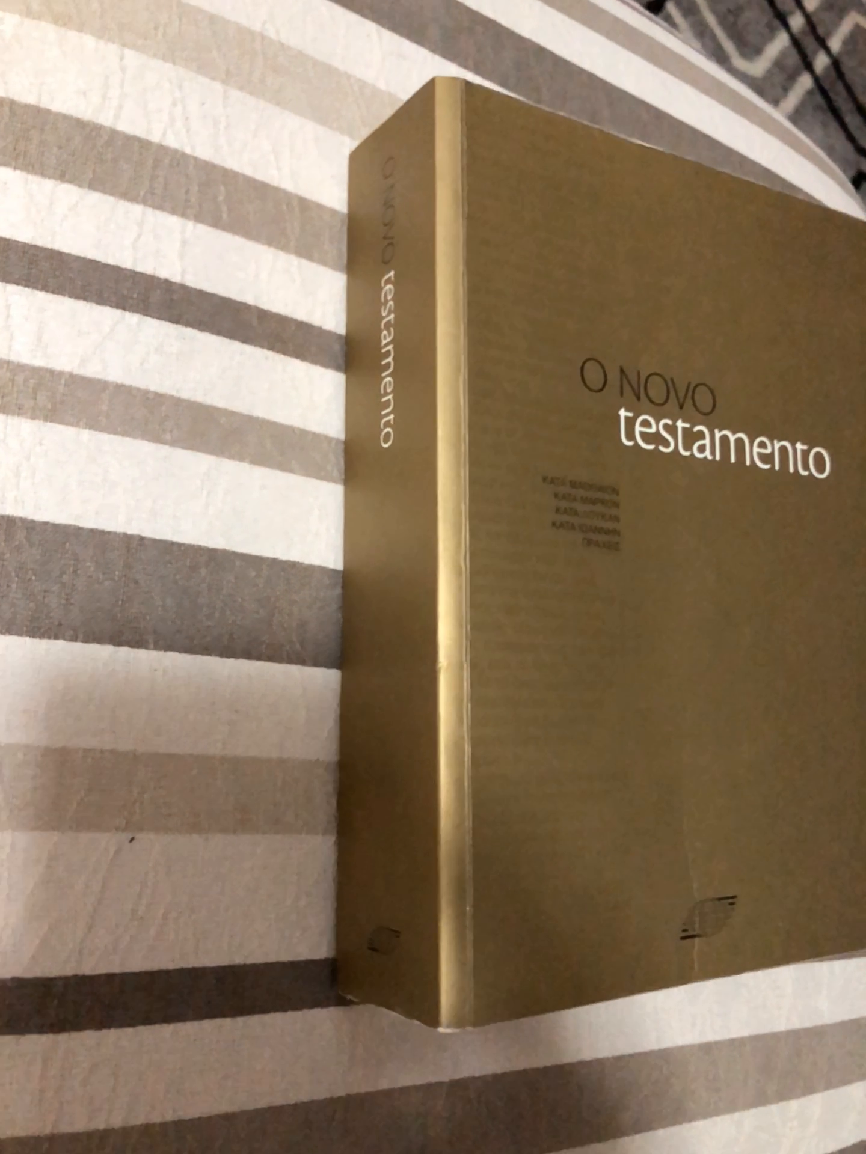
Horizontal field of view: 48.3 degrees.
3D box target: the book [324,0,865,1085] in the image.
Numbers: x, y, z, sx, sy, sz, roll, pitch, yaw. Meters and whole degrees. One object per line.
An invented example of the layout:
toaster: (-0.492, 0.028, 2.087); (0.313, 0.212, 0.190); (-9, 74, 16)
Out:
book: (0.054, -0.011, 0.260); (0.161, 0.050, 0.230); (5, 78, -32)
